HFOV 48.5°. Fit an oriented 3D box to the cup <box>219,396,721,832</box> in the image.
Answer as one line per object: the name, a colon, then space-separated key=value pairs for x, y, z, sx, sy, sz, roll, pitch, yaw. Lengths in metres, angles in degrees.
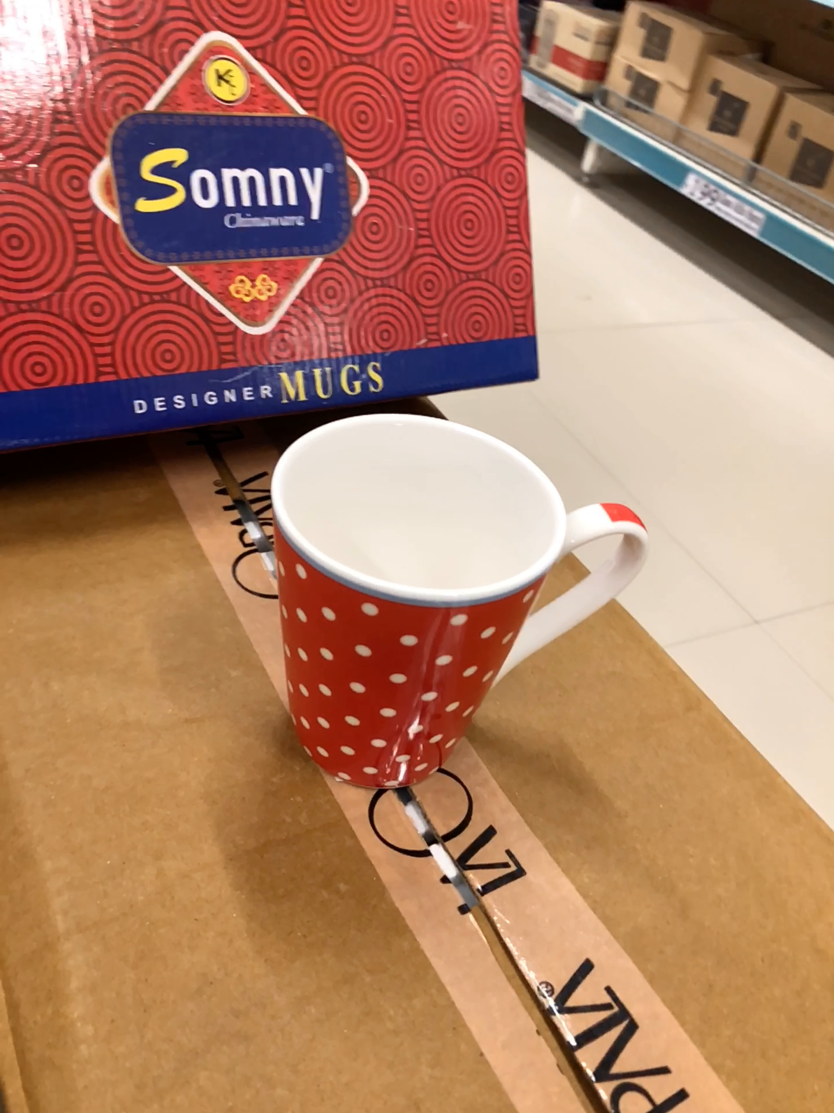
cup: x=0.008 y=0.013 z=0.289 sx=0.120 sy=0.089 sz=0.080 roll=-7 pitch=42 yaw=-22
